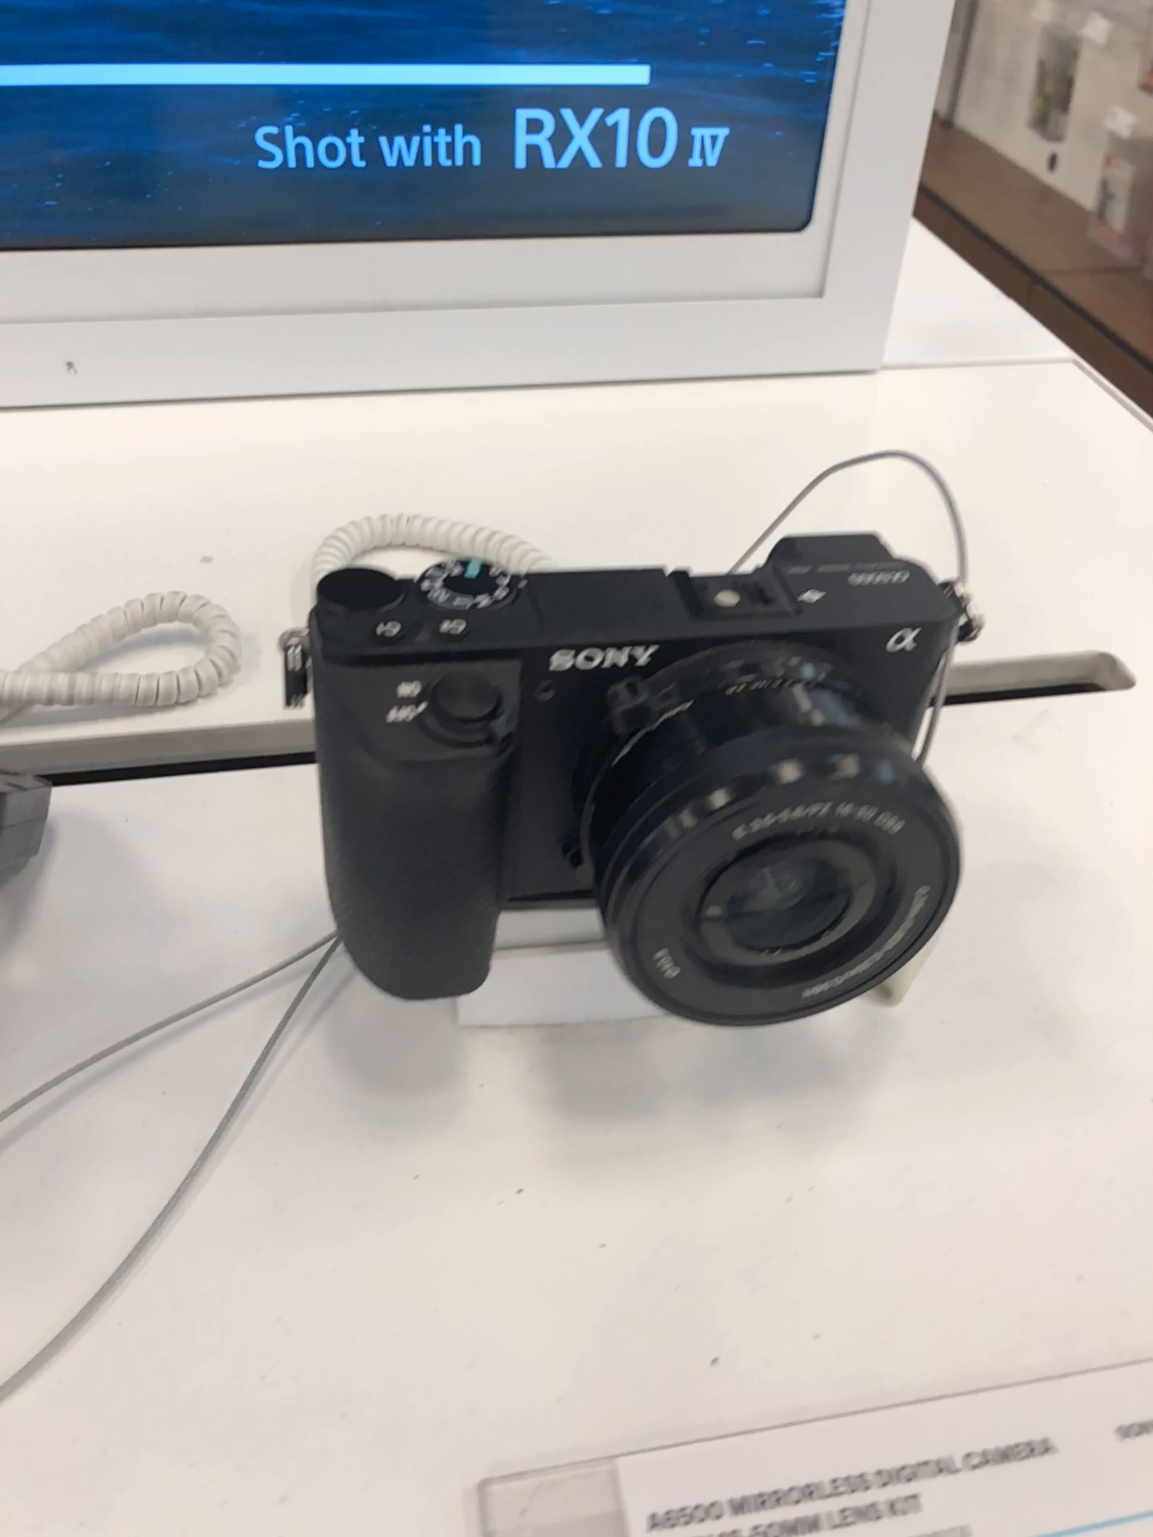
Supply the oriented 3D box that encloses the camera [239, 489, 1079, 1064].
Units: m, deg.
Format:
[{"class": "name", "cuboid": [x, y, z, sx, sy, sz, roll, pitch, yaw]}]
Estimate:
[{"class": "camera", "cuboid": [0.008, -0.002, 0.243, 0.130, 0.070, 0.070, -4, 41, -9]}]
